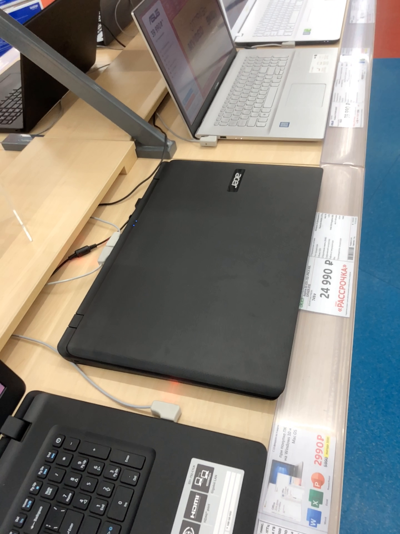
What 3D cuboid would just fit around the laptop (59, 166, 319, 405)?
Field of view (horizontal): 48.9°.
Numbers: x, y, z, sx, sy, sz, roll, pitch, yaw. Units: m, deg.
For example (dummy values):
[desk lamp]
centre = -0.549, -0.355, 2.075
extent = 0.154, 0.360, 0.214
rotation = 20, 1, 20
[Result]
[laptop]
centre = 0.012, -0.019, 0.641
extent = 0.278, 0.005, 0.411
rotation = 7, 48, 16
